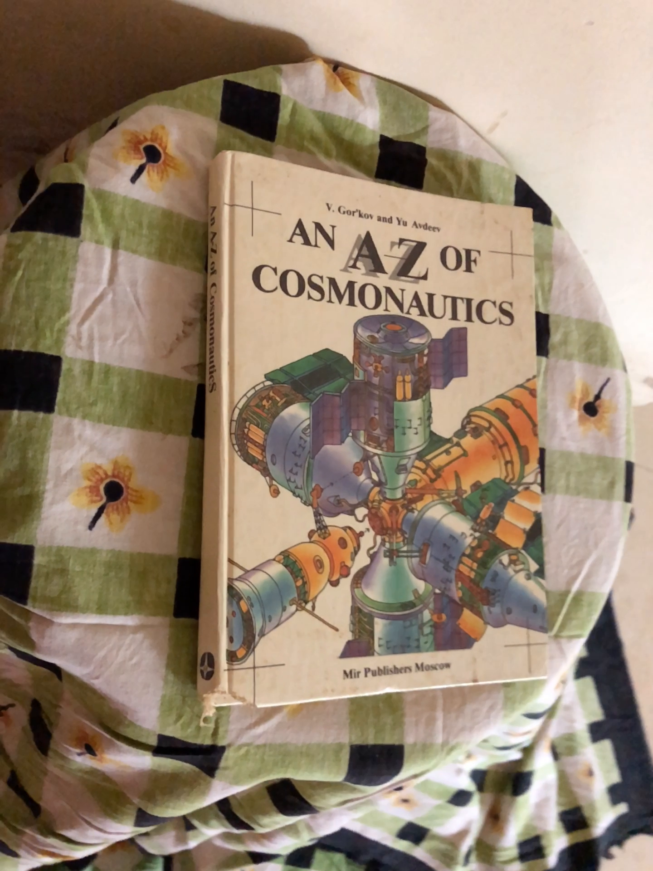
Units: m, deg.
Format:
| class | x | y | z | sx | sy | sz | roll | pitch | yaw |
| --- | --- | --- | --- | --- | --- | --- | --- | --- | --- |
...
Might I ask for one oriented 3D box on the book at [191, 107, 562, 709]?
| class | x | y | z | sx | sy | sz | roll | pitch | yaw |
| --- | --- | --- | --- | --- | --- | --- | --- | --- | --- |
| book | 0.028 | -0.010 | 0.387 | 0.181 | 0.060 | 0.270 | 4 | 80 | -26 |
